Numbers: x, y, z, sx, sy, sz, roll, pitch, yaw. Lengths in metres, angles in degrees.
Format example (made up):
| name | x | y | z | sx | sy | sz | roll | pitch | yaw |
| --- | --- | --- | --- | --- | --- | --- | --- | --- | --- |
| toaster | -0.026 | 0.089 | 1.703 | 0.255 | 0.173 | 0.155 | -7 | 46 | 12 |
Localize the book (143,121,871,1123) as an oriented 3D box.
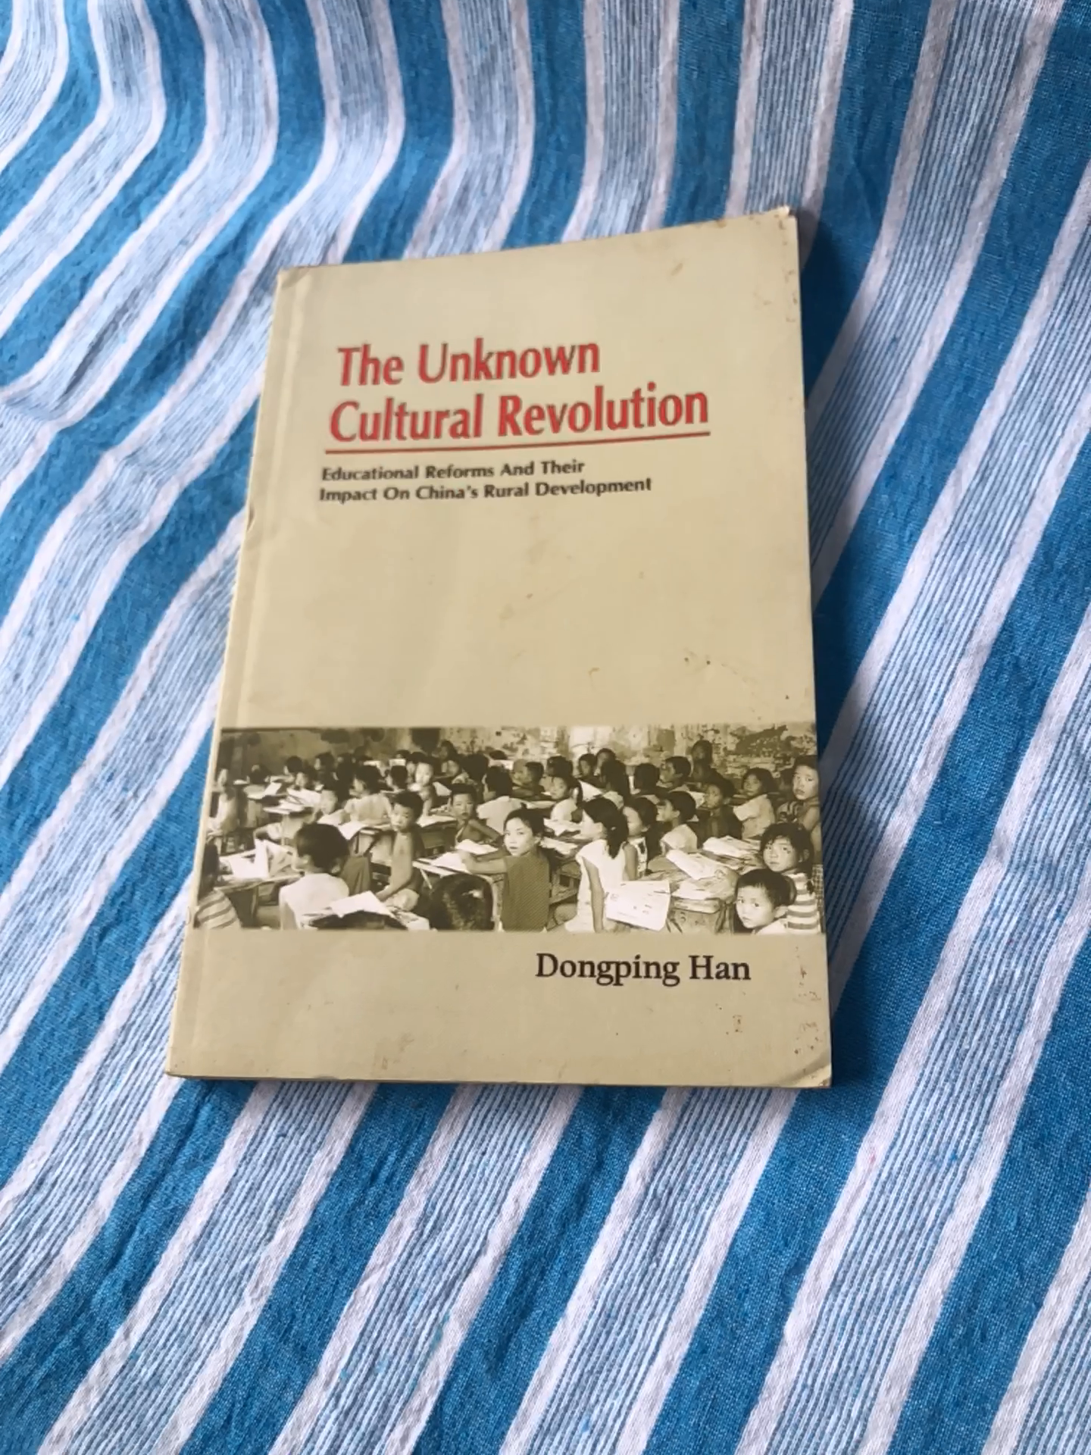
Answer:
| name | x | y | z | sx | sy | sz | roll | pitch | yaw |
| --- | --- | --- | --- | --- | --- | --- | --- | --- | --- |
| book | -0.003 | -0.034 | 0.278 | 0.140 | 0.020 | 0.230 | -3 | 67 | 15 |
